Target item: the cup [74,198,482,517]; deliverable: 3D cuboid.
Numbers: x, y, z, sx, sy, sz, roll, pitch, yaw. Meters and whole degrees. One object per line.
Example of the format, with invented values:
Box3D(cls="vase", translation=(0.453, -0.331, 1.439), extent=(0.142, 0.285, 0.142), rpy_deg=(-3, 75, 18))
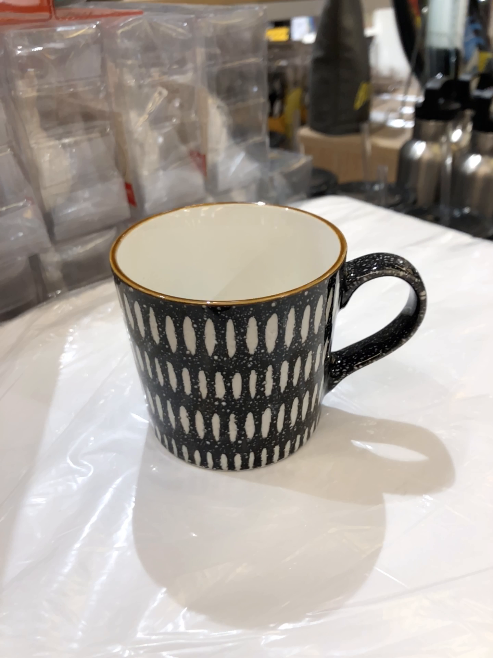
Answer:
Box3D(cls="cup", translation=(0.008, 0.006, 0.204), extent=(0.110, 0.079, 0.081), rpy_deg=(-3, 32, -2))
